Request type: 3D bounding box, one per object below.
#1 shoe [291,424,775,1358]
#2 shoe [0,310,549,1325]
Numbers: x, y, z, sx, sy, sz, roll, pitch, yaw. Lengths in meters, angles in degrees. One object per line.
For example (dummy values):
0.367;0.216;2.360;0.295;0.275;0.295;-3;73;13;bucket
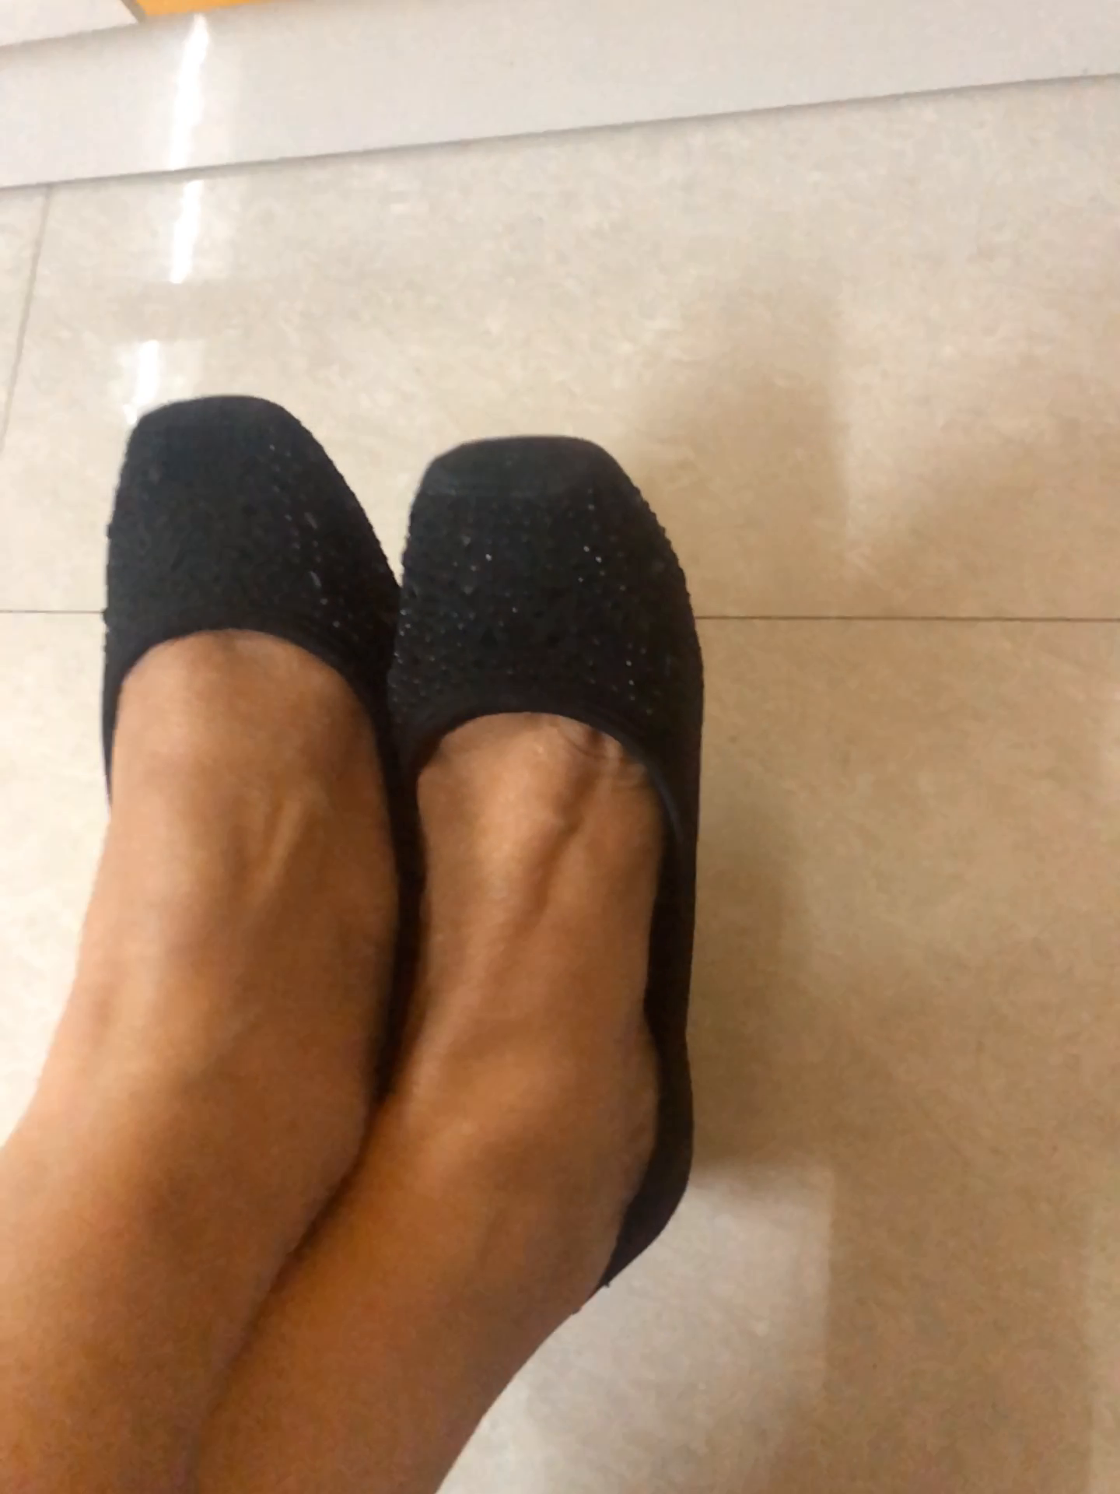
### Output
0.004;0.040;0.339;0.100;0.070;0.240;2;111;16;shoe
-0.077;0.024;0.364;0.100;0.070;0.270;-8;100;7;shoe
